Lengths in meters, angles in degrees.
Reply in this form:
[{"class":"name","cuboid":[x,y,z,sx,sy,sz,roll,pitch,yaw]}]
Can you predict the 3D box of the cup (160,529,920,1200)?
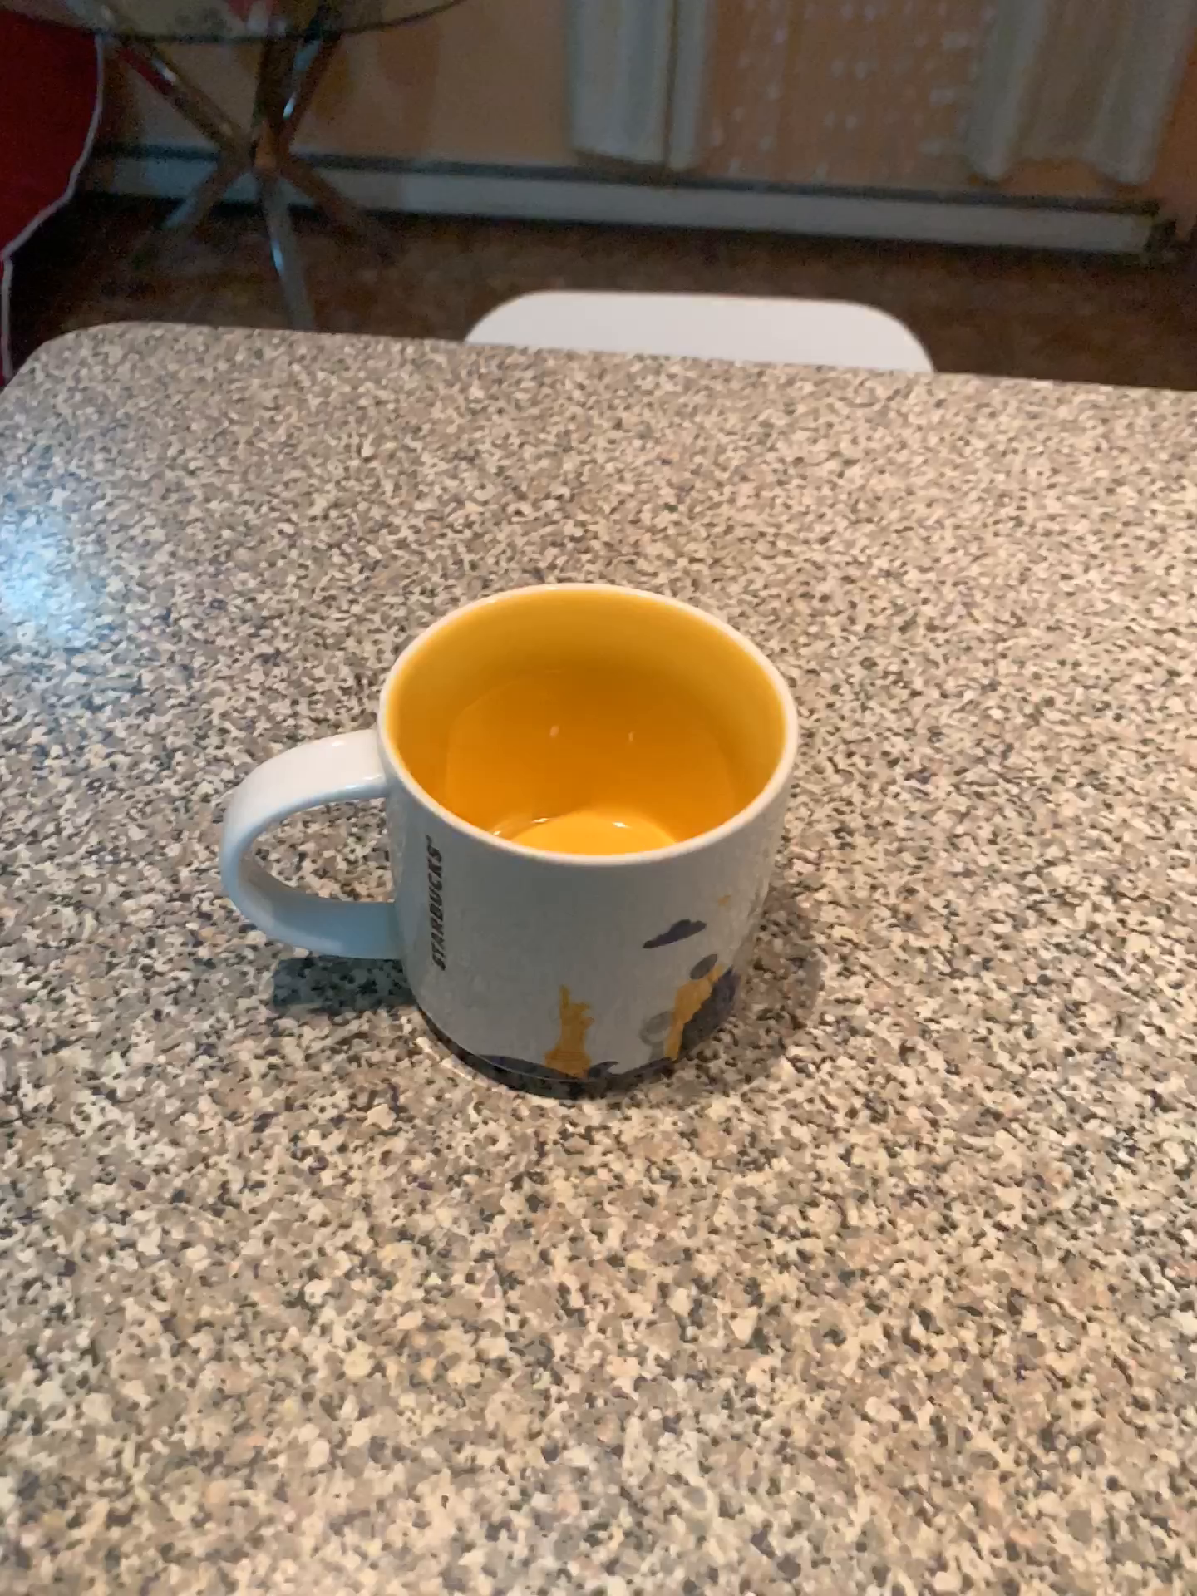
[{"class":"cup","cuboid":[-0.019,0.011,0.292,0.139,0.087,0.103,-11,48,-13]}]
